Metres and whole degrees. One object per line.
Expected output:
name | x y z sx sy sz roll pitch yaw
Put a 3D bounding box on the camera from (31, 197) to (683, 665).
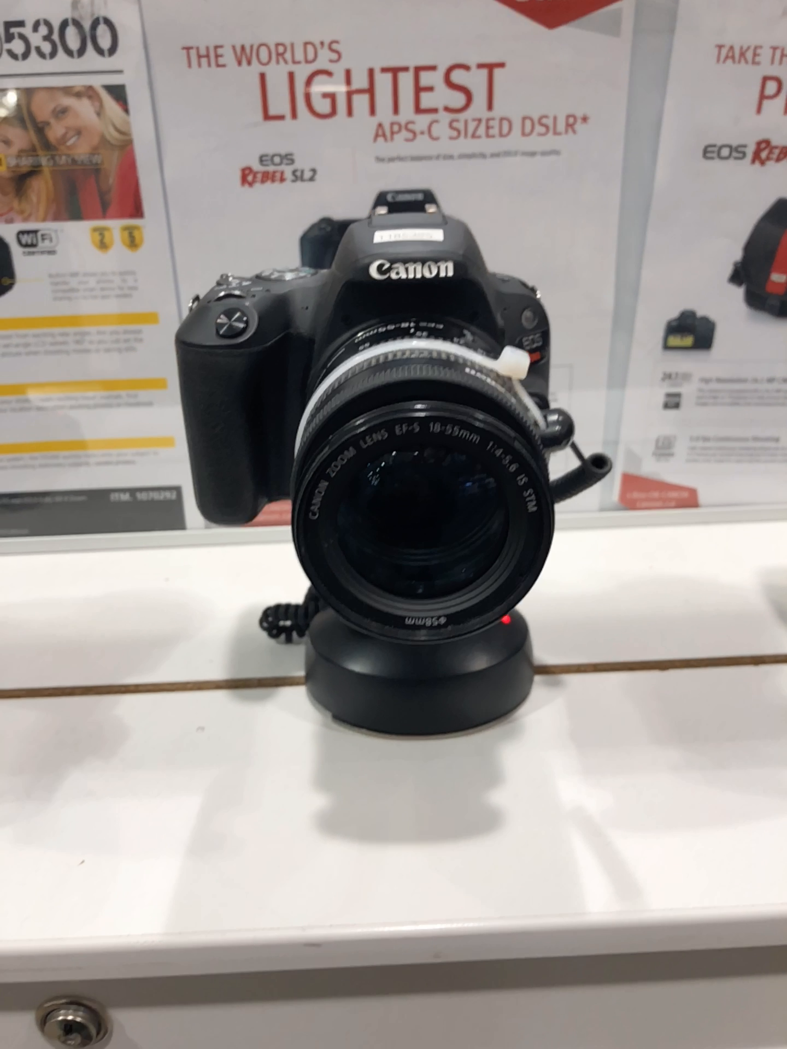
camera | -0.009 -0.040 0.258 0.130 0.090 0.141 -3 25 -2
